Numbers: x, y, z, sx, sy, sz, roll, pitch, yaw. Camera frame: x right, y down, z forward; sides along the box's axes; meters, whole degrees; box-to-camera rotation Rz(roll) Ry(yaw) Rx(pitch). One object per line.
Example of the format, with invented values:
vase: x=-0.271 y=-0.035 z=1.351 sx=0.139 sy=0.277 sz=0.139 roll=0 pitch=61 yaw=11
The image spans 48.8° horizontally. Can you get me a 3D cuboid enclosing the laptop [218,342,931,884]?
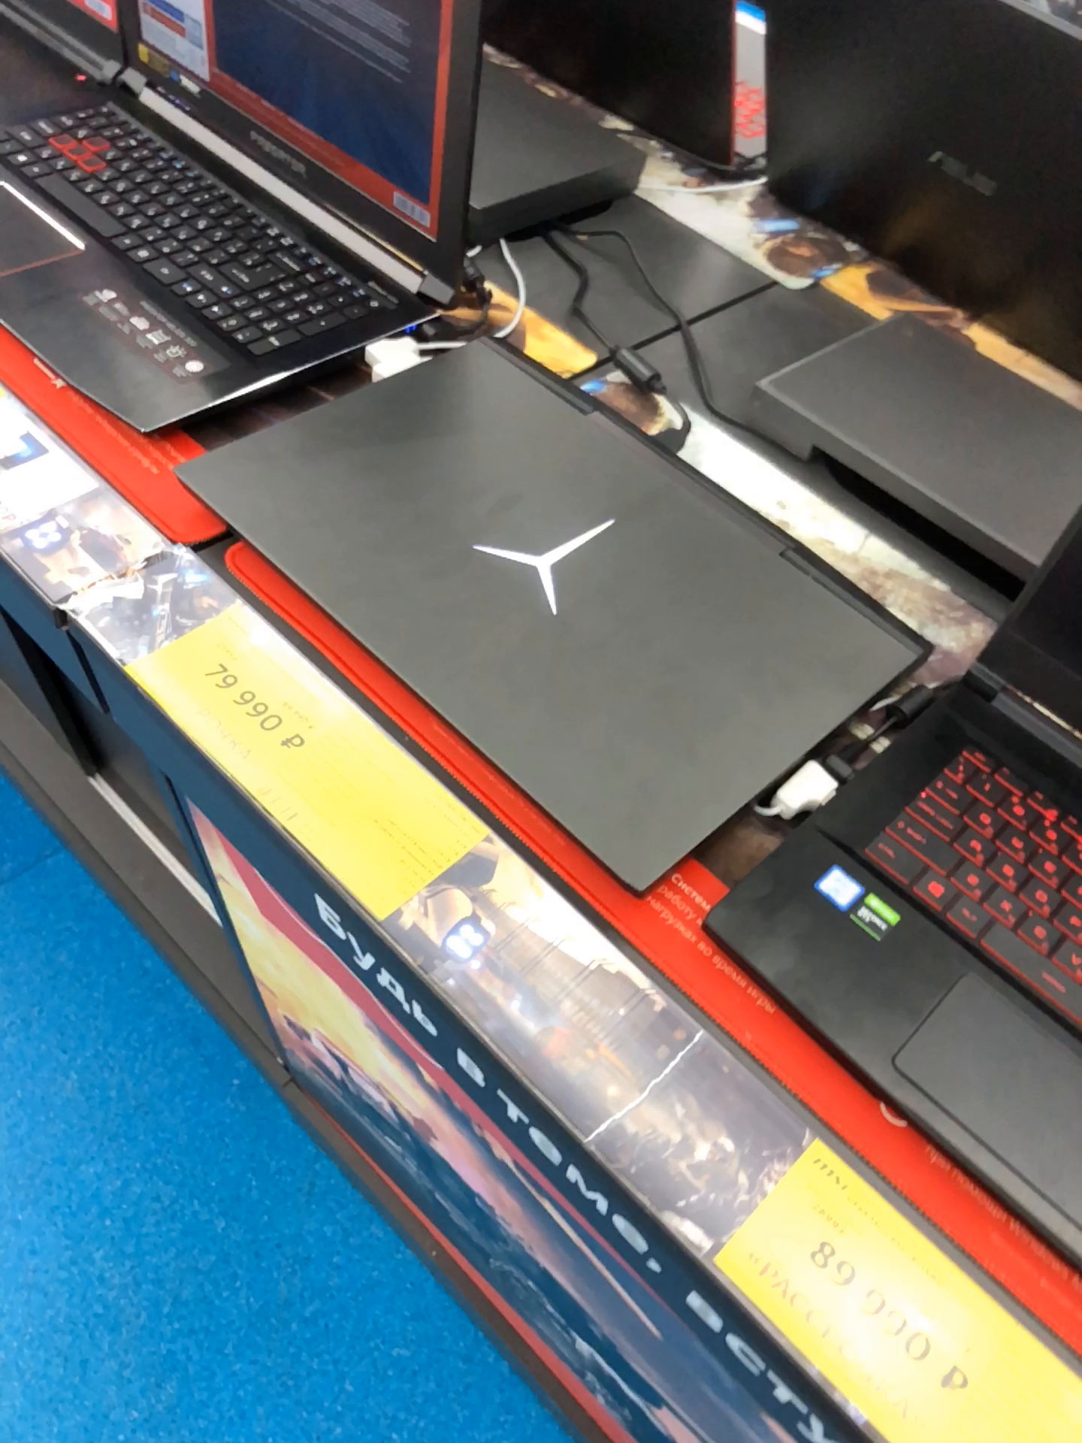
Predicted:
laptop: x=0.016 y=-0.089 z=0.667 sx=0.344 sy=0.007 sz=0.227 roll=40 pitch=56 yaw=23
